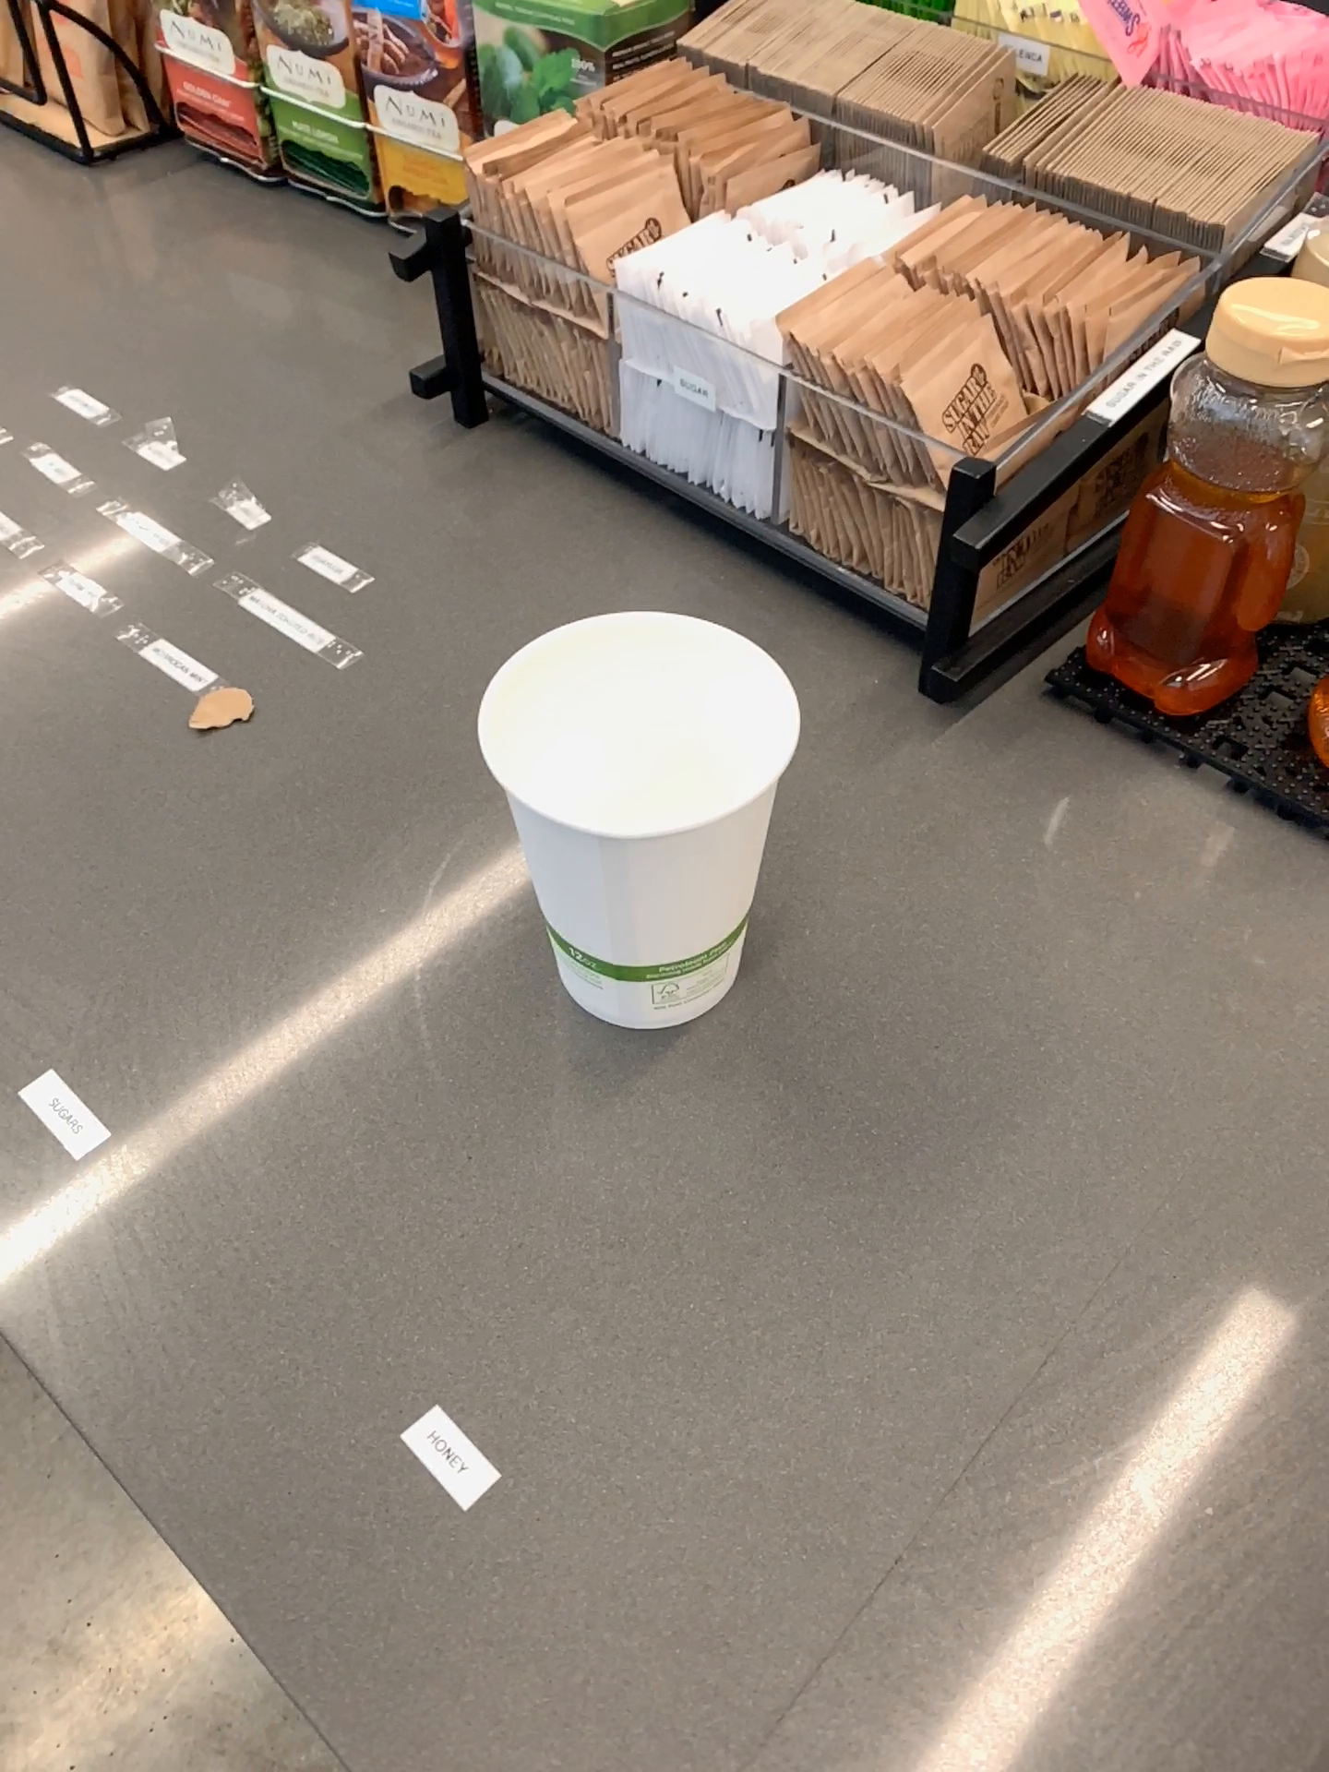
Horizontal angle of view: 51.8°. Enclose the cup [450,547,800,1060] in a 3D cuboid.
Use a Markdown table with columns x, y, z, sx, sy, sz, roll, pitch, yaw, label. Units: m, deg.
| x | y | z | sx | sy | sz | roll | pitch | yaw | label |
| --- | --- | --- | --- | --- | --- | --- | --- | --- | --- |
| -0.012 | -0.021 | 0.401 | 0.080 | 0.119 | 0.080 | 0 | 49 | 1 | cup |
